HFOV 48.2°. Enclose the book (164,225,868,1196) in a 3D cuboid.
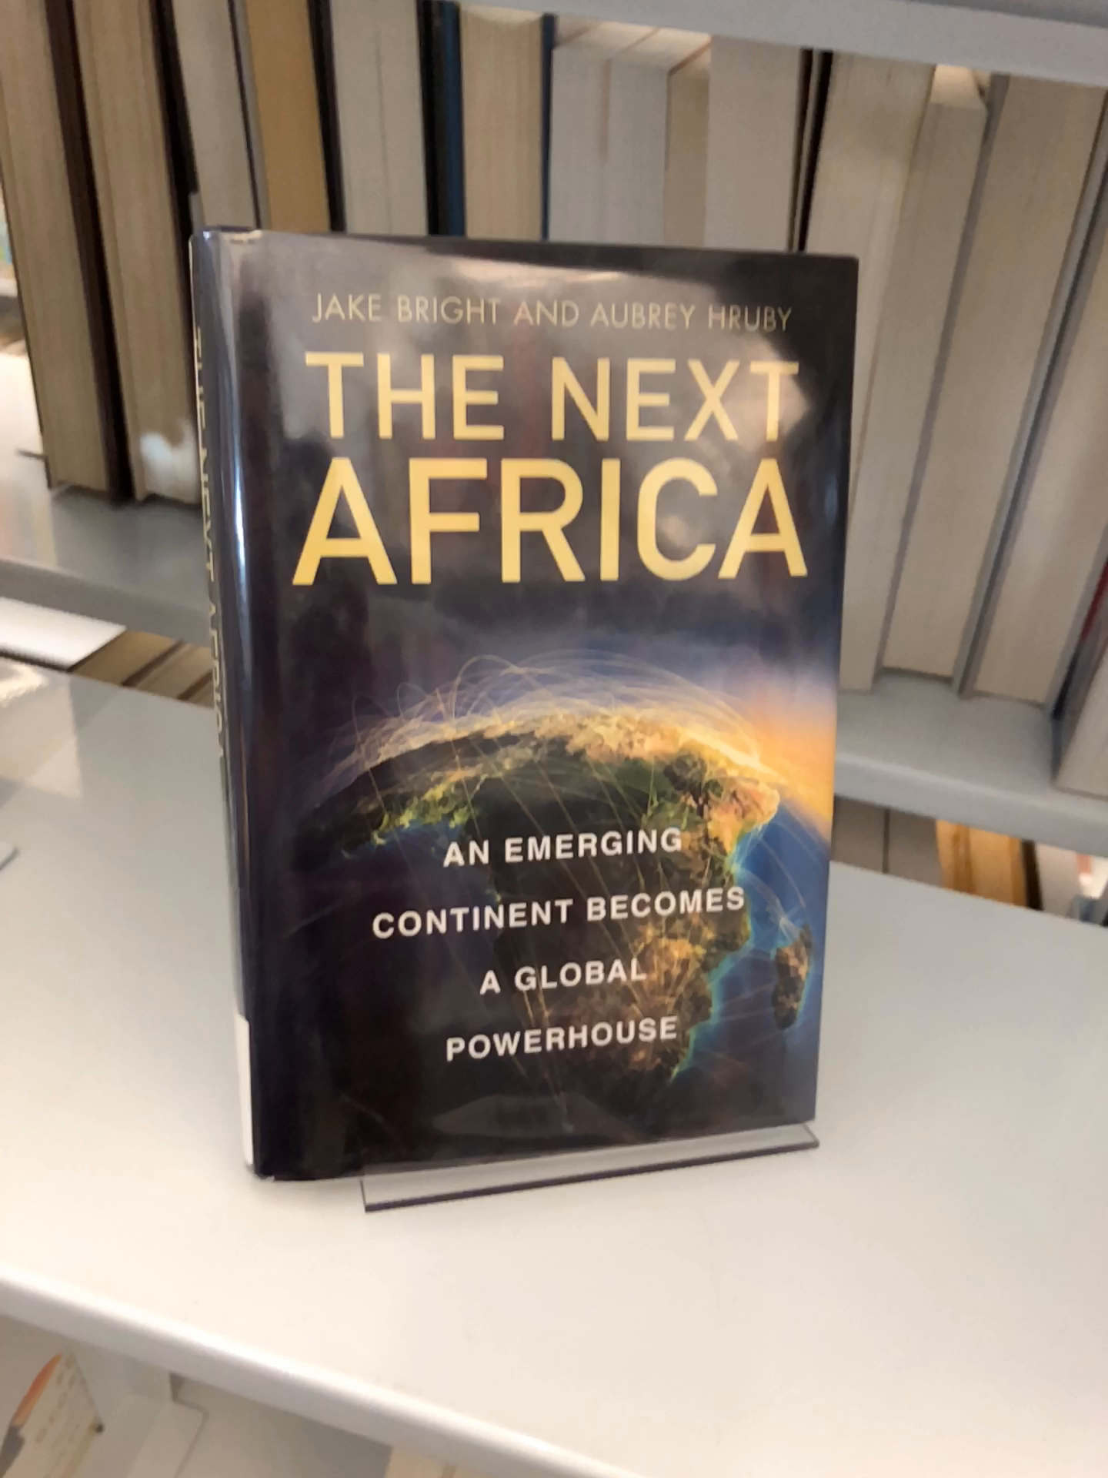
[{"bbox_3d":[-0.007,-0.004,0.297,0.153,0.211,0.030,-2,11,-13],"label":"book"}]
